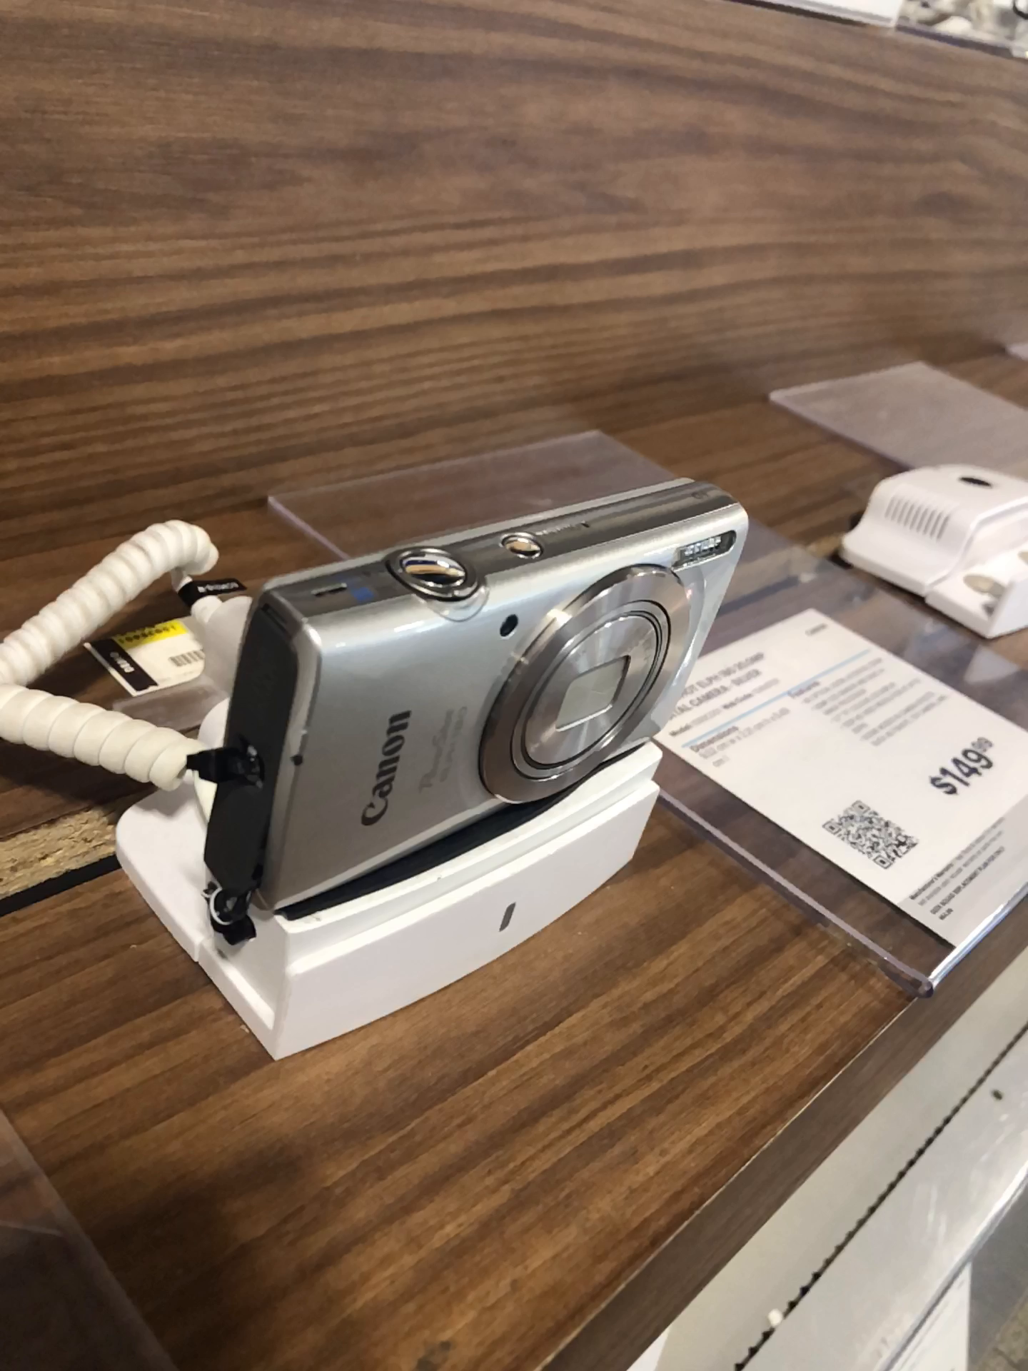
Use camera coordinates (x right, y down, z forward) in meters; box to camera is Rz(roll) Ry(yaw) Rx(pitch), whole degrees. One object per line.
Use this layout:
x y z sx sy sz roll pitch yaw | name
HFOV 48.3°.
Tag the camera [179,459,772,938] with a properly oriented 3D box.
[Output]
-0.003 -0.003 0.187 0.100 0.050 0.020 -21 48 -40 | camera
